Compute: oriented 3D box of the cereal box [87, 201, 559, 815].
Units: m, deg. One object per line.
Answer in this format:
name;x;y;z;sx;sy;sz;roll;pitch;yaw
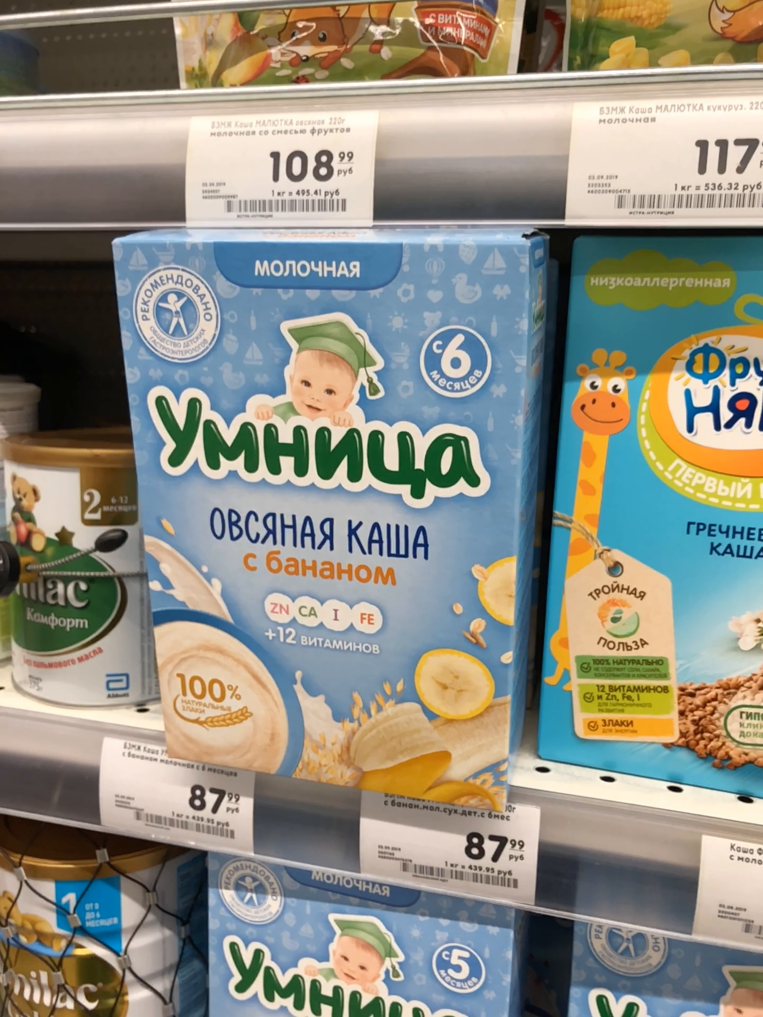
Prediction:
cereal box;-0.015;-0.003;0.323;0.150;0.209;0.060;3;18;15
